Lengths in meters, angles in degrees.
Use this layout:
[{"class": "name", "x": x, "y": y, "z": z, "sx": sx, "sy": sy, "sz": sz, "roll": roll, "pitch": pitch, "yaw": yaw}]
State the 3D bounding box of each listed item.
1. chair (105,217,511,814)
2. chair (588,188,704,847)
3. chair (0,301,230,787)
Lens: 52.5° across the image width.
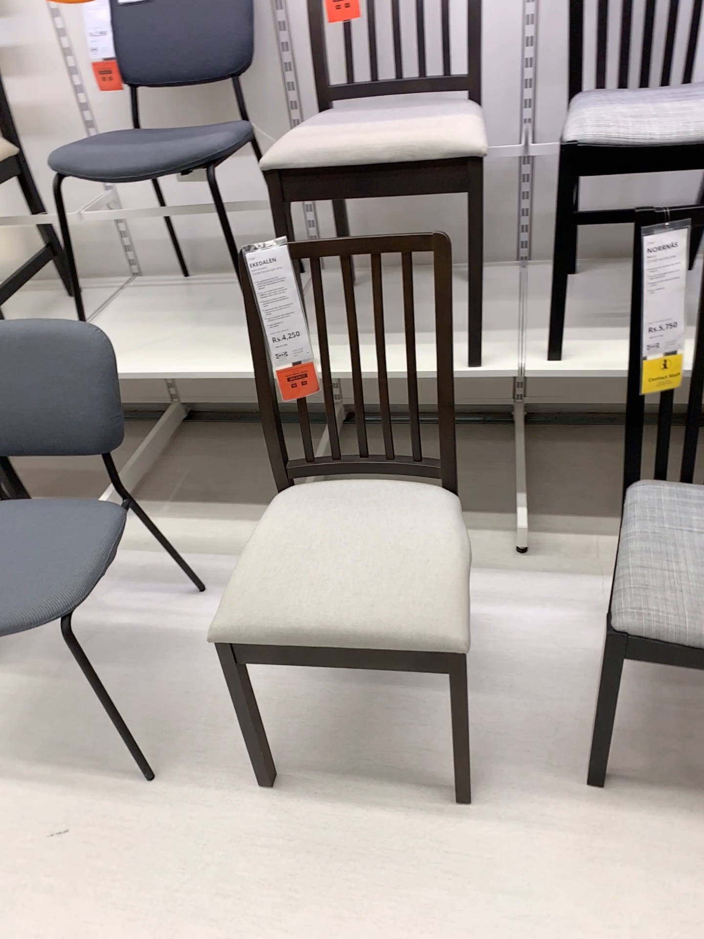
[{"class": "chair", "x": 0.032, "y": 0.107, "z": 1.296, "sx": 0.480, "sy": 0.916, "sz": 0.532, "roll": 0, "pitch": 37, "yaw": 11}, {"class": "chair", "x": 0.689, "y": 0.092, "z": 1.196, "sx": 0.480, "sy": 0.916, "sz": 0.532, "roll": 4, "pitch": 38, "yaw": 17}, {"class": "chair", "x": -0.689, "y": 0.161, "z": 1.511, "sx": 0.570, "sy": 0.787, "sz": 0.612, "roll": -2, "pitch": 37, "yaw": 9}]
